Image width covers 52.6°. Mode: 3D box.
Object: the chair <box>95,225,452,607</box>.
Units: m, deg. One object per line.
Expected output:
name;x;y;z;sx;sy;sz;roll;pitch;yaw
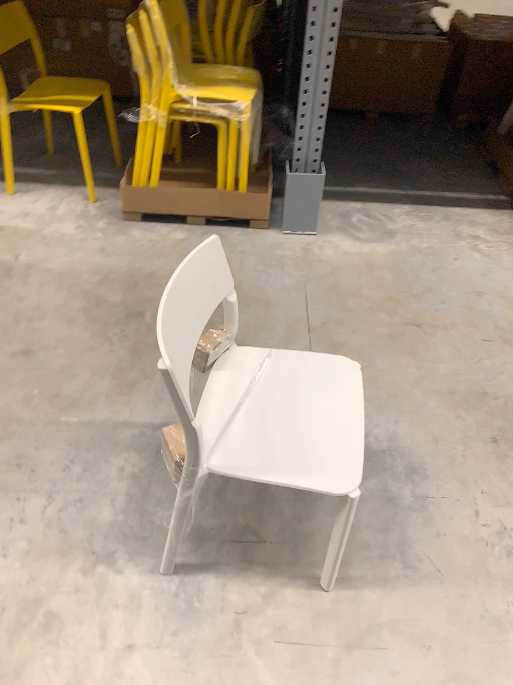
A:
chair;0.033;0.171;1.169;0.530;0.618;0.522;7;44;2
